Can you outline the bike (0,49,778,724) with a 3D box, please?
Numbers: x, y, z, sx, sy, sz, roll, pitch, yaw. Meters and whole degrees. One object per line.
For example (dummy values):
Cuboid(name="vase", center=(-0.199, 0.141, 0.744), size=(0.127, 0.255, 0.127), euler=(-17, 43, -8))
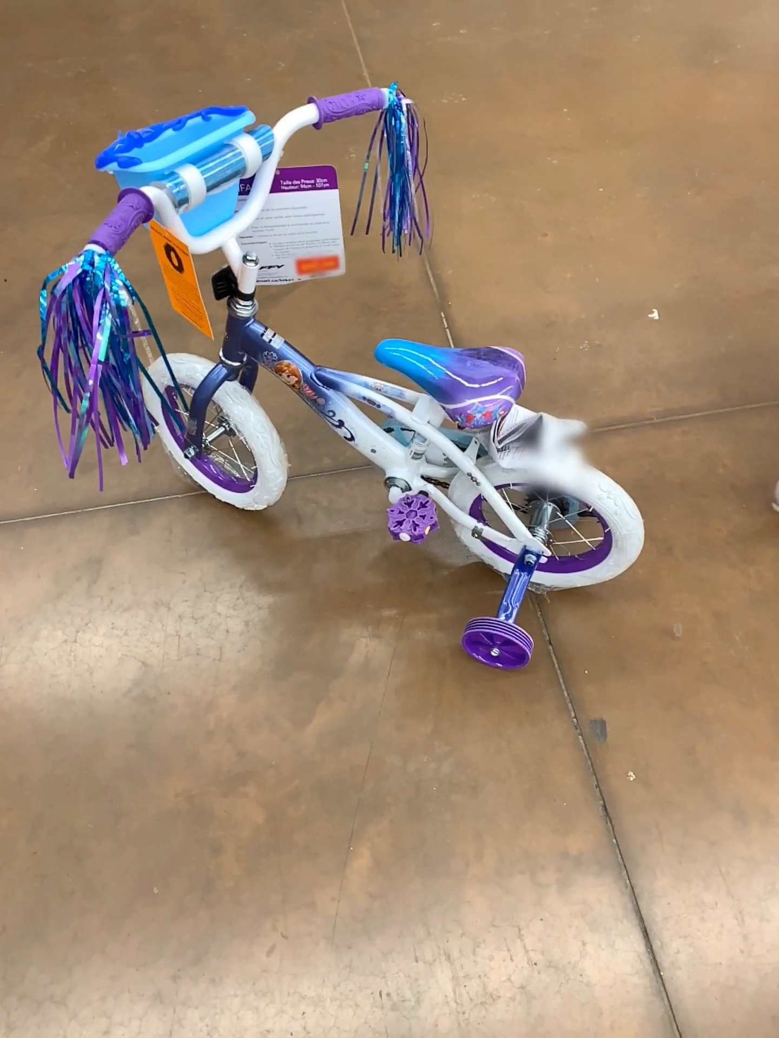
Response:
Cuboid(name="bike", center=(0.025, -0.137, 1.035), size=(0.651, 0.643, 0.474), euler=(13, 56, 11))
